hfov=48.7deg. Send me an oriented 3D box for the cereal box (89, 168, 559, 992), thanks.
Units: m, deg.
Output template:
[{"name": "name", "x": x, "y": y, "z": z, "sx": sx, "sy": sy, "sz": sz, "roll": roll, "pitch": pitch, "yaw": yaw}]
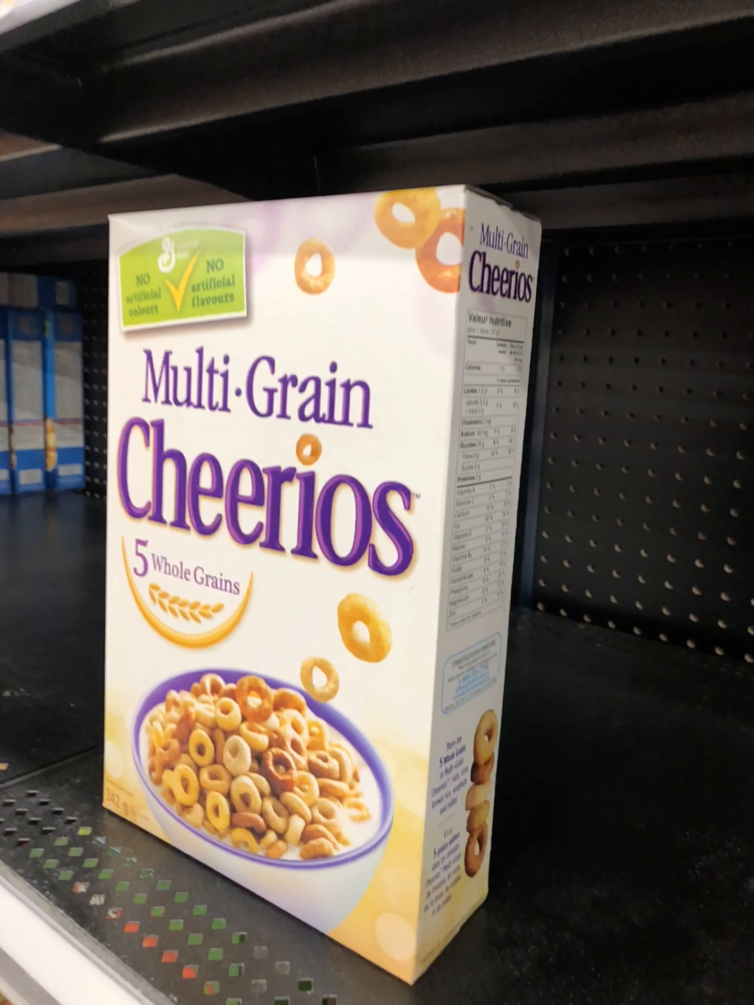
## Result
[{"name": "cereal box", "x": -0.038, "y": 0.020, "z": 0.371, "sx": 0.200, "sy": 0.289, "sz": 0.070, "roll": 9, "pitch": 11, "yaw": 36}]
